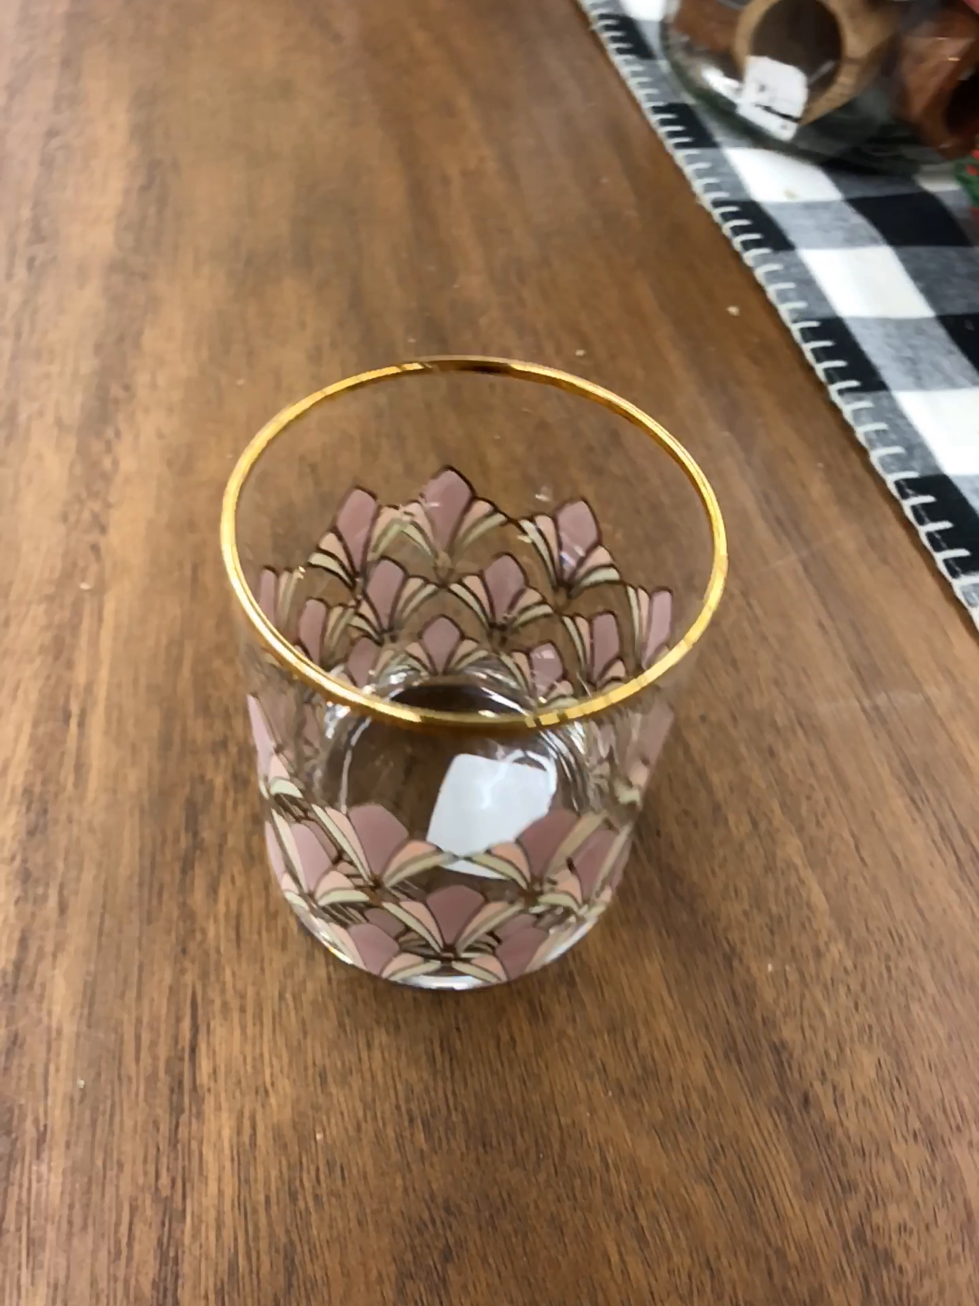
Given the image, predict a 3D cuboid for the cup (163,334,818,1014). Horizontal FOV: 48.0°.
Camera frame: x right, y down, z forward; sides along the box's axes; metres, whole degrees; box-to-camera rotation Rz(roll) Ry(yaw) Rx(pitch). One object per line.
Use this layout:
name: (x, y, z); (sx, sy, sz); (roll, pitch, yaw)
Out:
cup: (-0.006, 0.005, 0.198); (0.083, 0.090, 0.081); (2, 51, -3)
